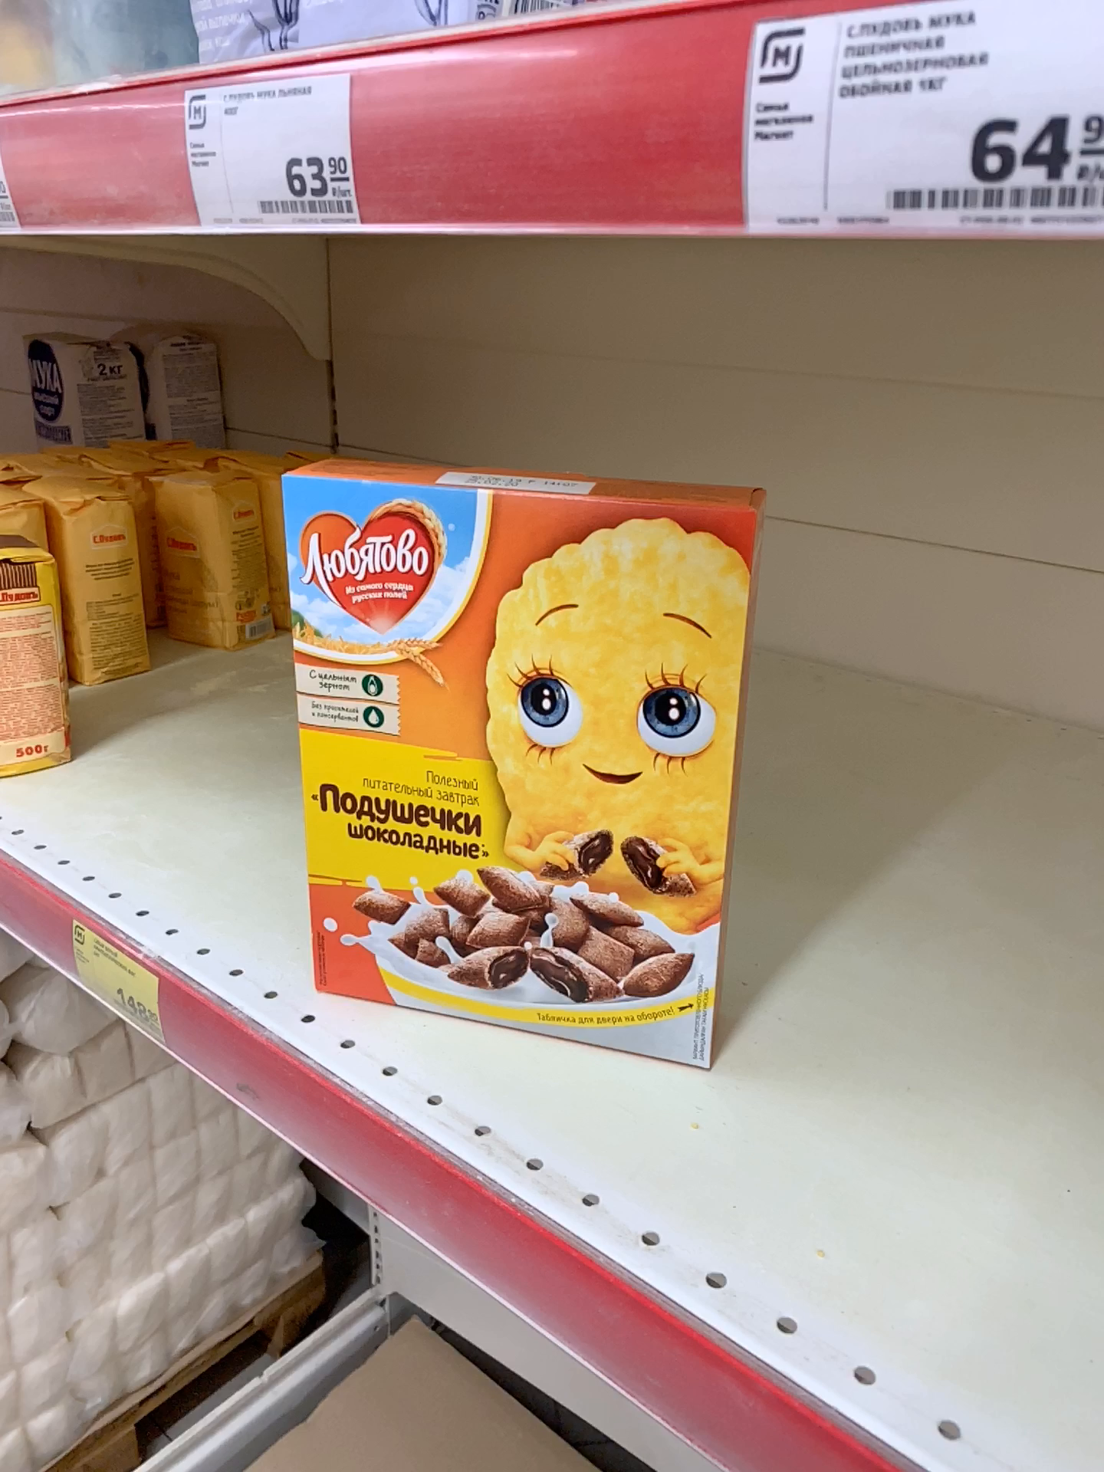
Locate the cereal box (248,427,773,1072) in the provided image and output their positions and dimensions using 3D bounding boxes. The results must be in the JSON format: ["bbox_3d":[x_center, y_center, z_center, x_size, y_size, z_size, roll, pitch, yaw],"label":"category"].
[{"bbox_3d":[-0.017,0.004,0.445,0.180,0.228,0.050,7,22,15],"label":"cereal box"}]
